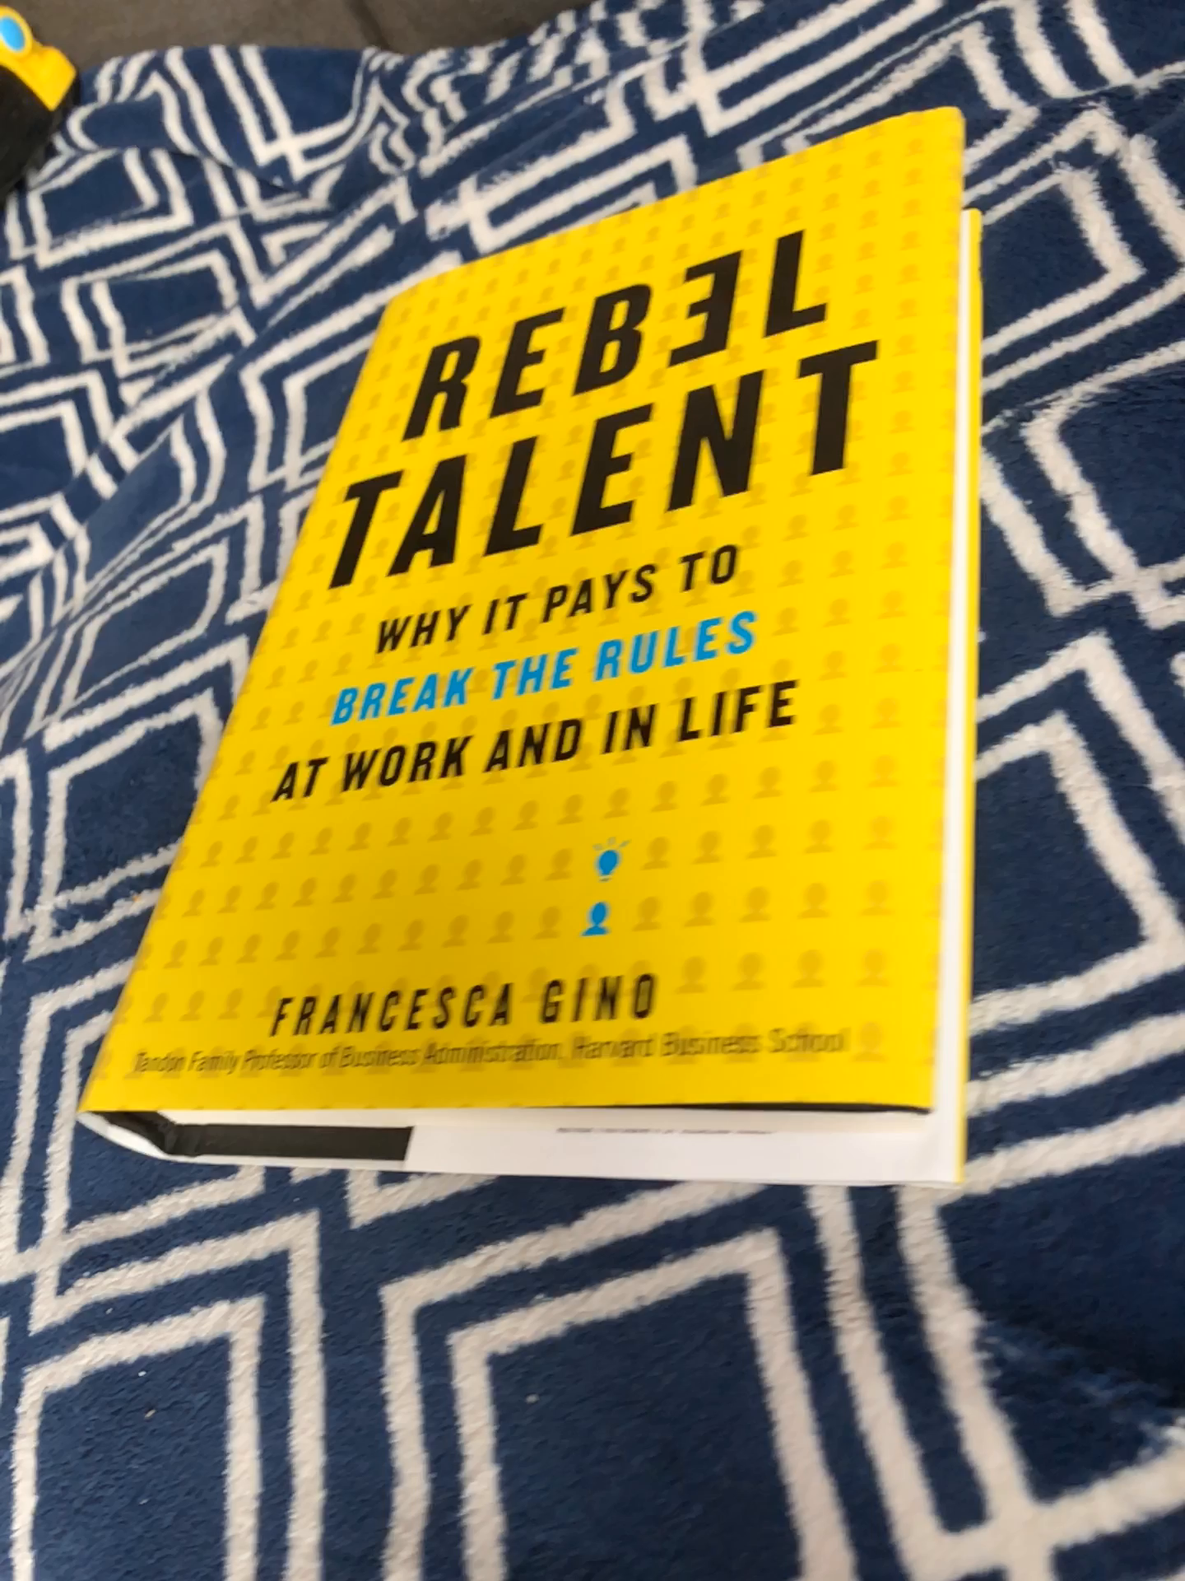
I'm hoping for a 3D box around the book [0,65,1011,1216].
[{"bbox_3d":[-0.005,-0.041,0.268,0.167,0.032,0.237,-7,53,26],"label":"book"}]
